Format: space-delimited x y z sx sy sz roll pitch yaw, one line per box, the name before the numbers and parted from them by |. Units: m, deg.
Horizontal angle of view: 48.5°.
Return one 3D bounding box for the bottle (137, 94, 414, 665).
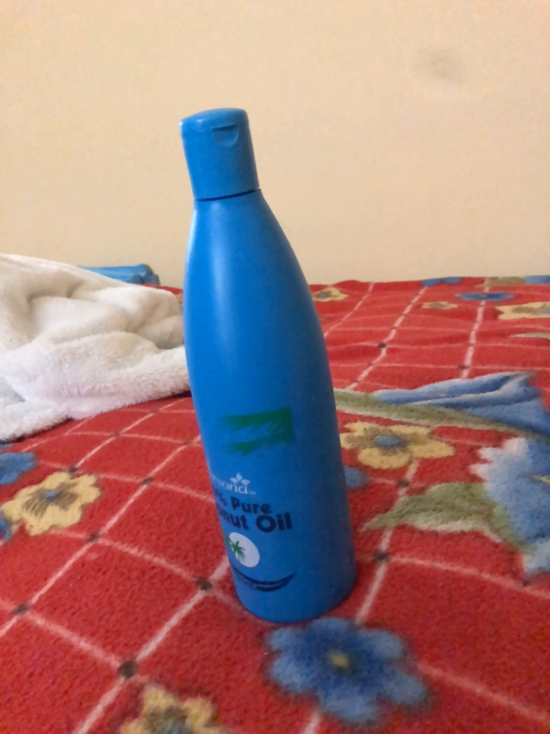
bottle | 0.009 0.007 0.277 0.070 0.229 0.070 -7 19 2
